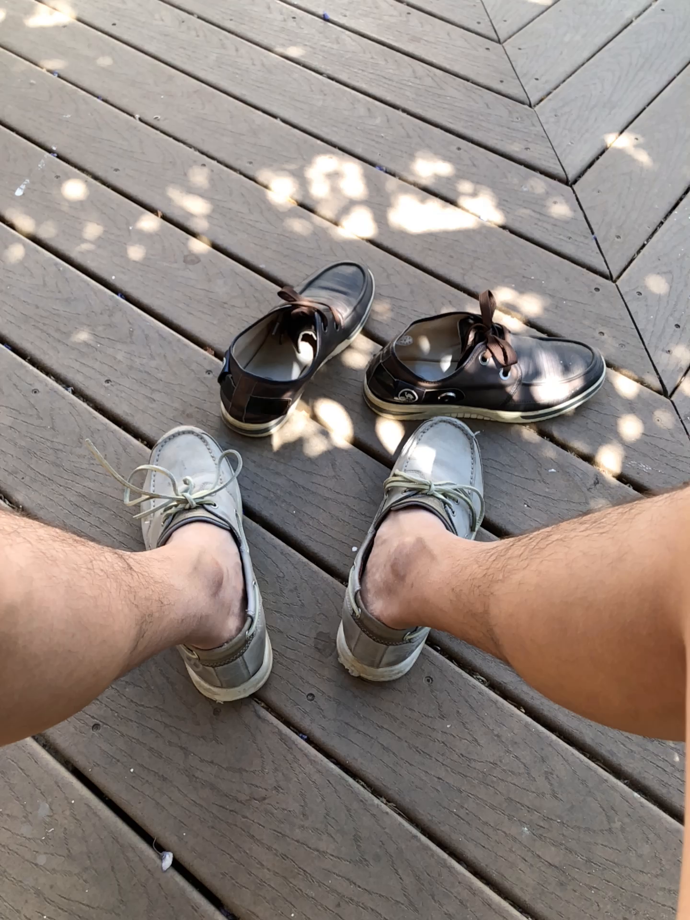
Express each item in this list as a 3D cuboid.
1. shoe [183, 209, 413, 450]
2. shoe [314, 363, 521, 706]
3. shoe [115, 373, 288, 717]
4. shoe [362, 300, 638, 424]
[{"bbox_3d":[-0.045,-0.154,0.852,0.109,0.069,0.279,30,62,15],"label":"shoe"},{"bbox_3d":[0.072,0.062,0.720,0.109,0.101,0.293,17,58,8],"label":"shoe"},{"bbox_3d":[-0.136,0.067,0.701,0.109,0.086,0.293,-10,59,-10],"label":"shoe"},{"bbox_3d":[0.161,-0.108,0.840,0.277,0.079,0.110,0,57,-3],"label":"shoe"}]
